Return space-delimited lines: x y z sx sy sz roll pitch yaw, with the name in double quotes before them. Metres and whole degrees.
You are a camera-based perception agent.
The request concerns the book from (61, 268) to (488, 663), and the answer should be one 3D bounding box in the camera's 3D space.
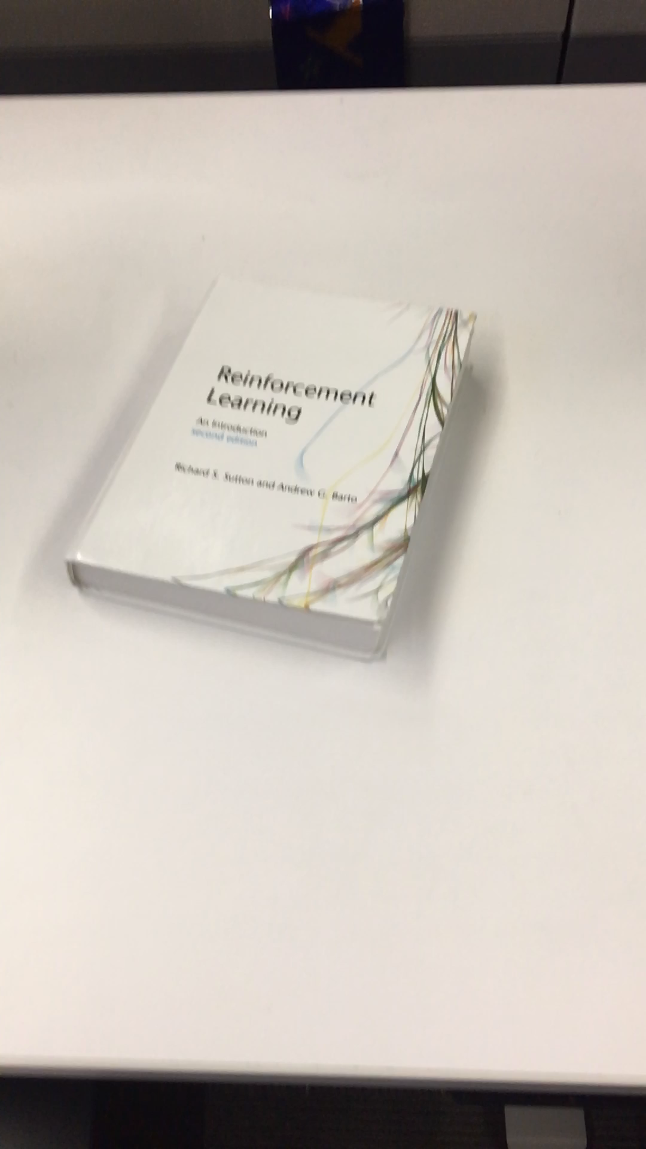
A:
"book" -0.017 -0.078 0.567 0.180 0.030 0.240 13 57 11
